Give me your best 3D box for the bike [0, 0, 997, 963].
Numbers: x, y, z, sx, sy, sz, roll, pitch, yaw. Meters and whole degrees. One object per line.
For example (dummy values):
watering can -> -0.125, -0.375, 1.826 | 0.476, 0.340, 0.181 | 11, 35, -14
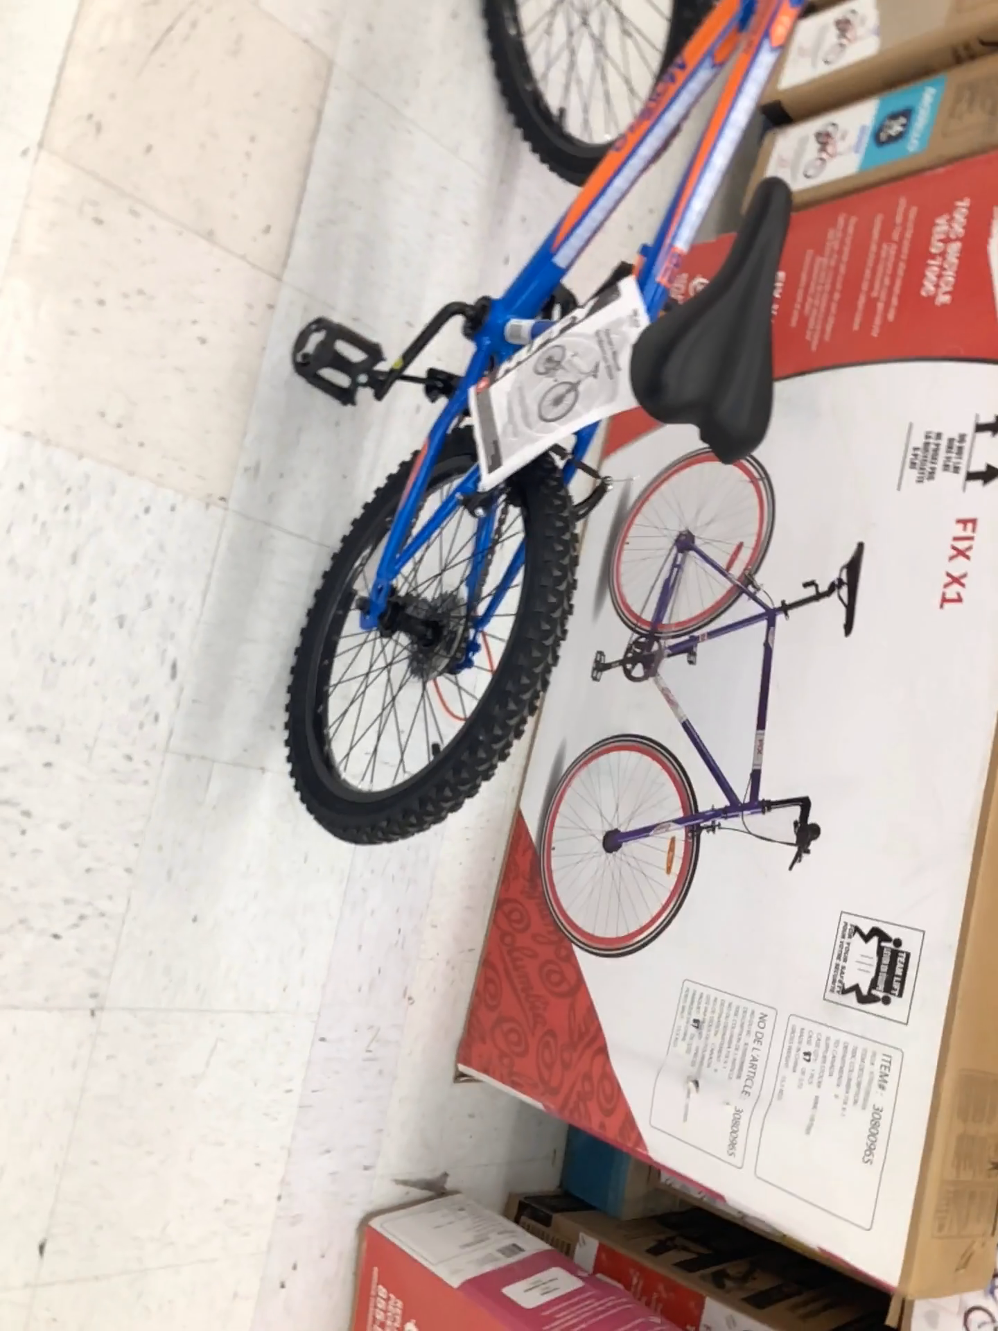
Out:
bike -> 0.003, -0.484, 1.197 | 0.587, 0.870, 1.314 | 17, 76, -42
